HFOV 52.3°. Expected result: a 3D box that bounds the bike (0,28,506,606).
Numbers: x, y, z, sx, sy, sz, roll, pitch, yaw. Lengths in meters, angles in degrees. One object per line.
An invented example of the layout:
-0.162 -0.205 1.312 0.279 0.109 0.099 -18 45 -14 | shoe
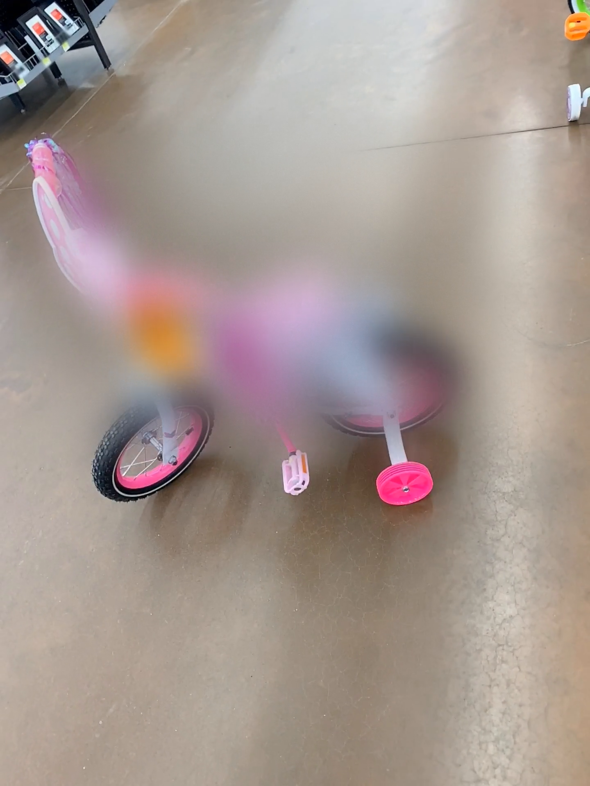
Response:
-0.096 -0.062 1.107 0.776 0.707 0.429 -20 46 6 | bike
